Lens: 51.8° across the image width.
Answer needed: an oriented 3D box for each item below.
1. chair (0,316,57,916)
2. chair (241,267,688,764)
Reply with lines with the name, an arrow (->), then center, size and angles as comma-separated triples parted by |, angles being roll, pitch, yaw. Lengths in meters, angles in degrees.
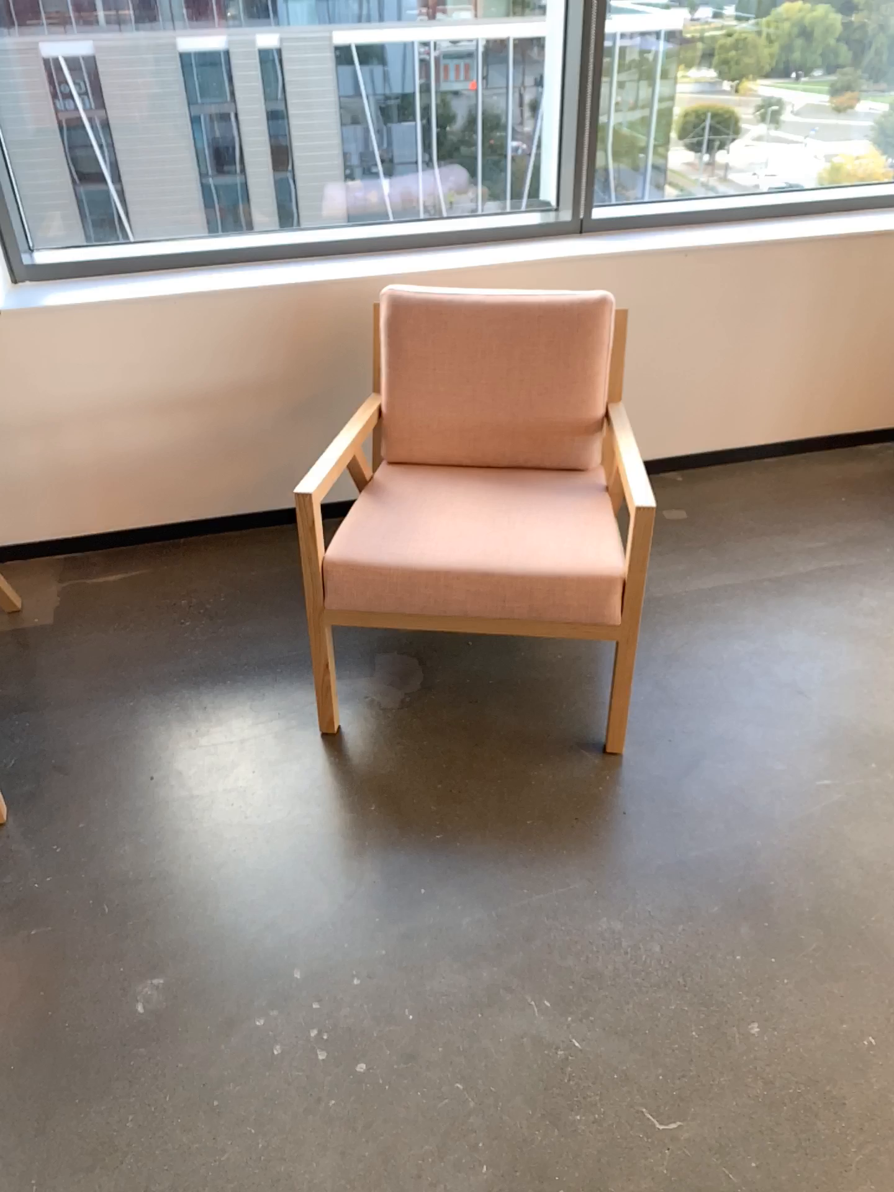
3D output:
chair -> -1.320, -0.004, 1.854 | 0.740, 0.795, 0.775 | -9, 37, -10
chair -> 0.072, -0.216, 2.057 | 0.740, 0.795, 0.775 | 3, 35, 6
